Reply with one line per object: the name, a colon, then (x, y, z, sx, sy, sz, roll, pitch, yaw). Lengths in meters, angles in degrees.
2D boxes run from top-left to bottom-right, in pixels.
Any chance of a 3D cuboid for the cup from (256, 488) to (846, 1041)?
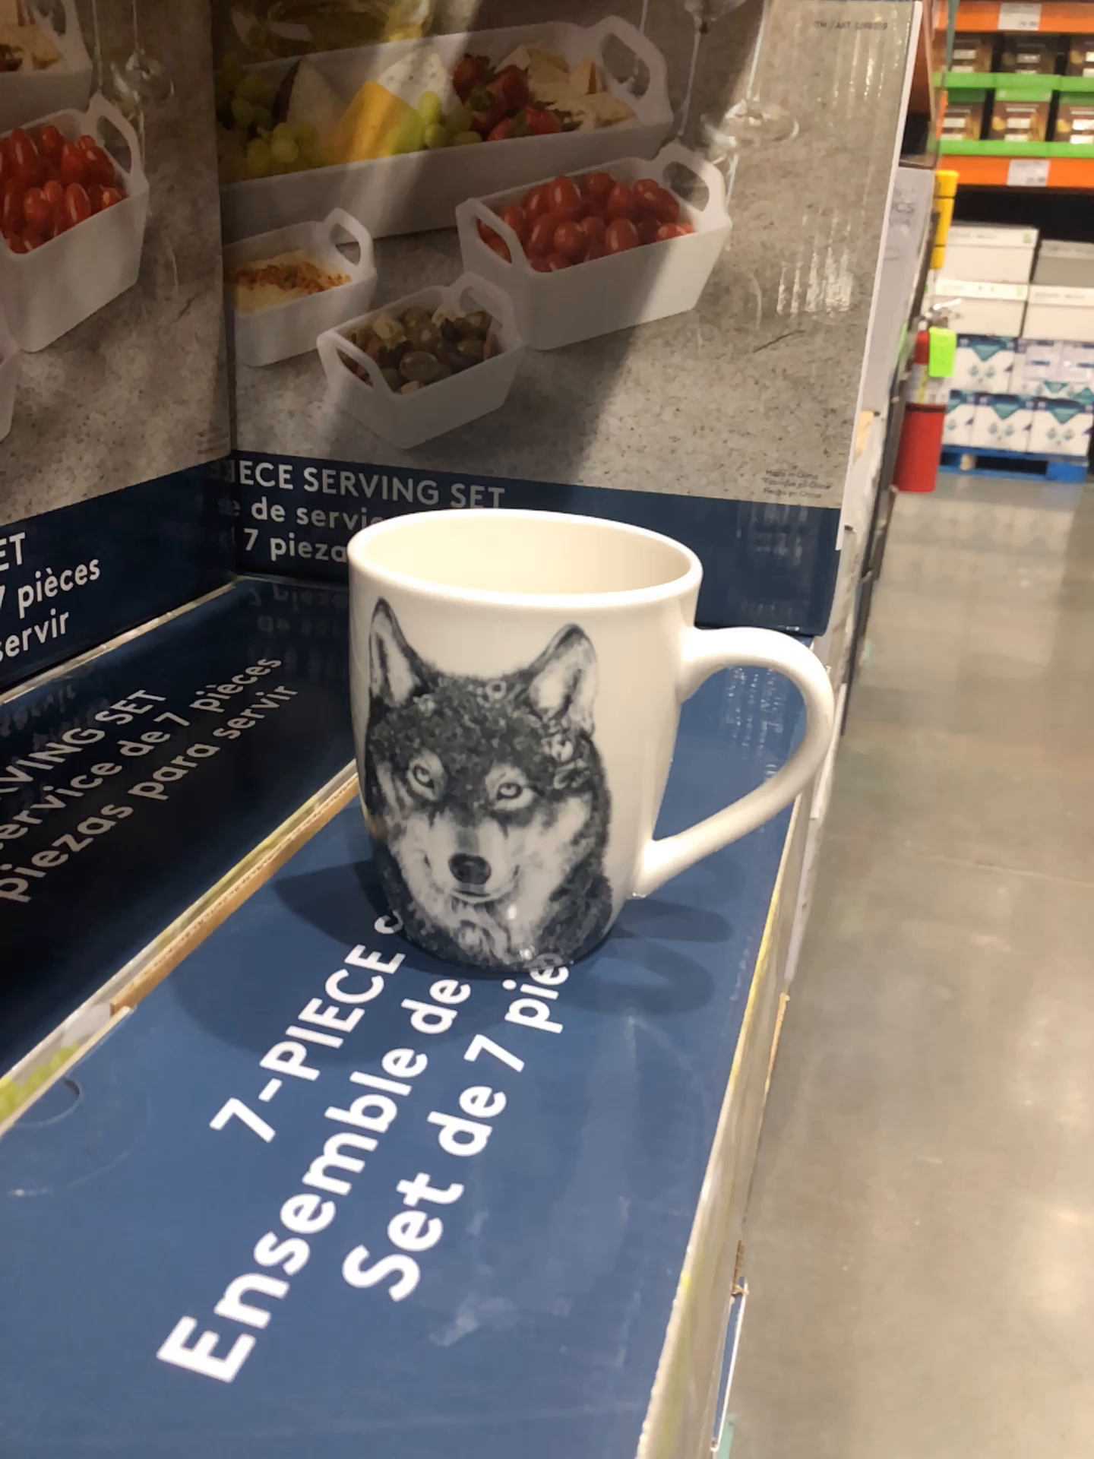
cup: (0.007, 0.001, 0.316, 0.128, 0.102, 0.094, 7, 22, 11)
